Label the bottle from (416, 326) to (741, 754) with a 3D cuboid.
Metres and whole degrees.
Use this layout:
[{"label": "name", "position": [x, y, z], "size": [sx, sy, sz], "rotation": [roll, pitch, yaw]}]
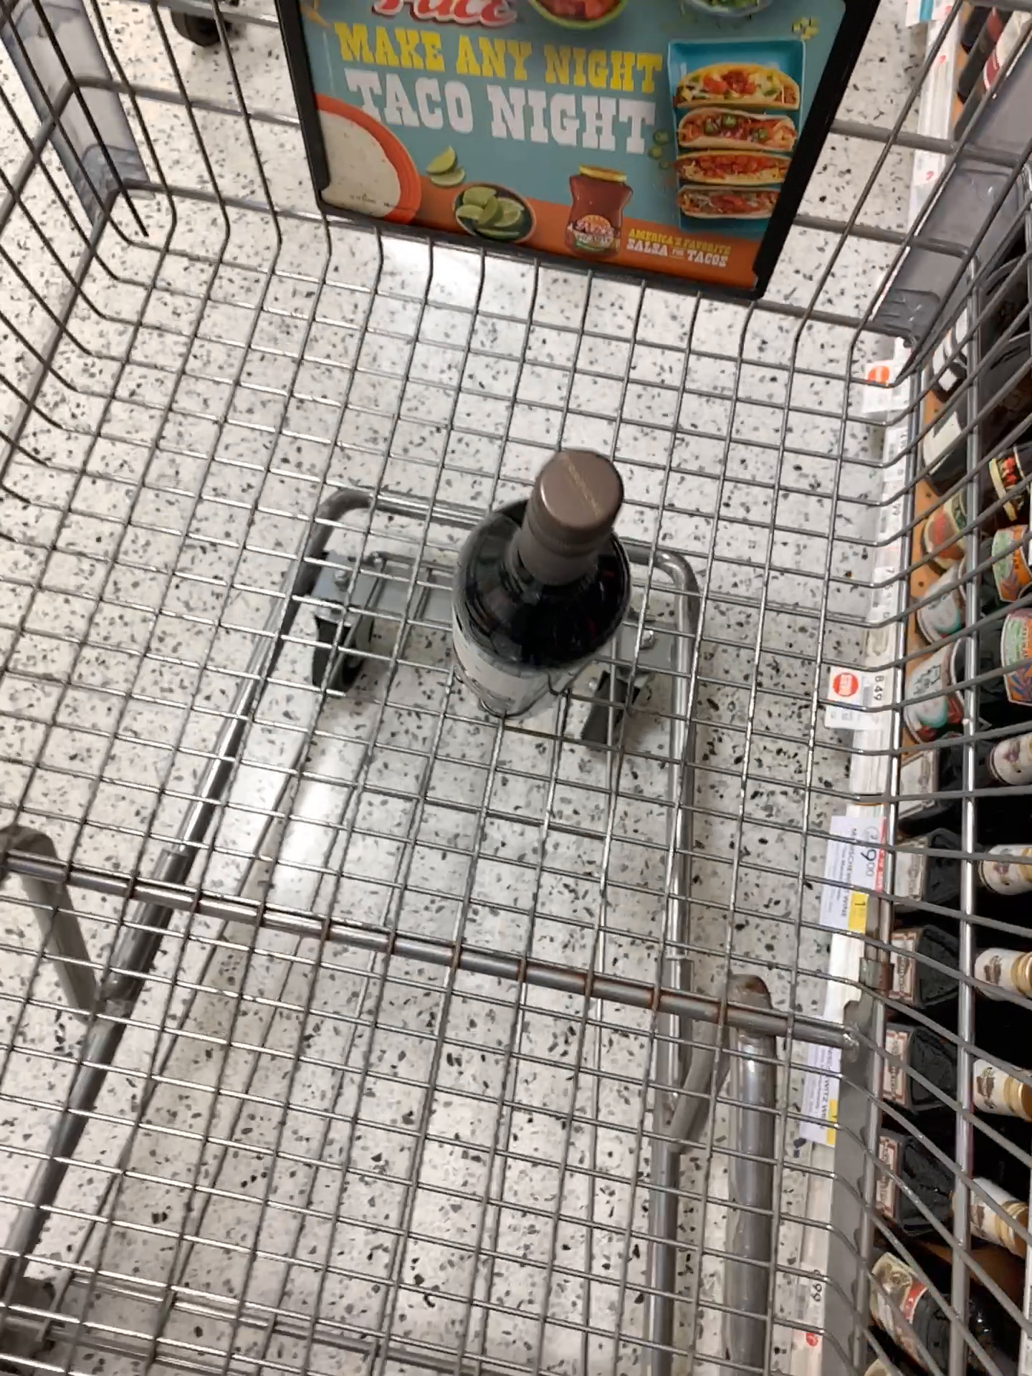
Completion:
[{"label": "bottle", "position": [0.013, -0.041, 0.488], "size": [0.090, 0.299, 0.090], "rotation": [0, 79, -2]}]
